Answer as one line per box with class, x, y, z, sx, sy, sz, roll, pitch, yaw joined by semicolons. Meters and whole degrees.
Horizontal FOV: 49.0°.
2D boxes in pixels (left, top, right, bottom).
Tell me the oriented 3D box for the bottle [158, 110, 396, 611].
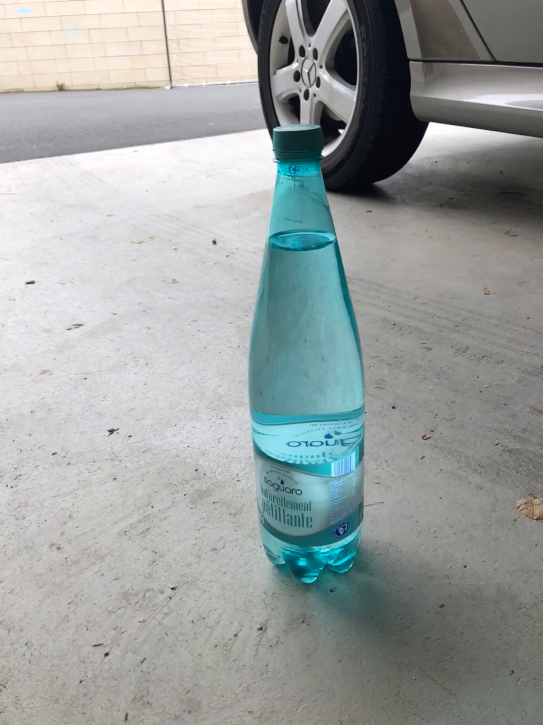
bottle;0.012;0.006;0.407;0.100;0.318;0.091;15;33;31
